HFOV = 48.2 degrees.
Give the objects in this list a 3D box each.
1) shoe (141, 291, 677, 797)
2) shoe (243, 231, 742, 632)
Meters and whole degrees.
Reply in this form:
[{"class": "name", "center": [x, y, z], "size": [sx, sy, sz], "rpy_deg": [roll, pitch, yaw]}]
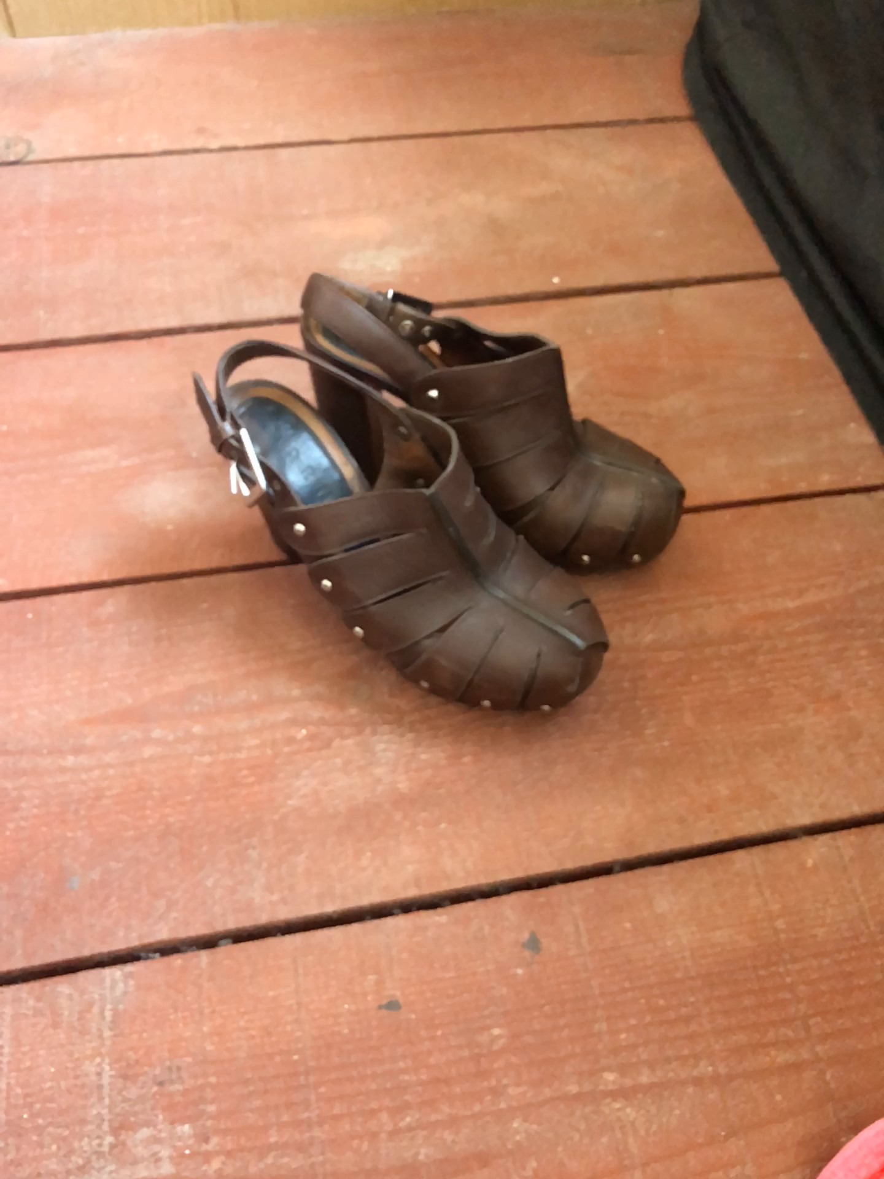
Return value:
[{"class": "shoe", "center": [-0.019, -0.021, 0.445], "size": [0.210, 0.120, 0.080], "rpy_deg": [33, 61, 18]}, {"class": "shoe", "center": [0.020, -0.076, 0.478], "size": [0.210, 0.110, 0.080], "rpy_deg": [18, 45, 5]}]
